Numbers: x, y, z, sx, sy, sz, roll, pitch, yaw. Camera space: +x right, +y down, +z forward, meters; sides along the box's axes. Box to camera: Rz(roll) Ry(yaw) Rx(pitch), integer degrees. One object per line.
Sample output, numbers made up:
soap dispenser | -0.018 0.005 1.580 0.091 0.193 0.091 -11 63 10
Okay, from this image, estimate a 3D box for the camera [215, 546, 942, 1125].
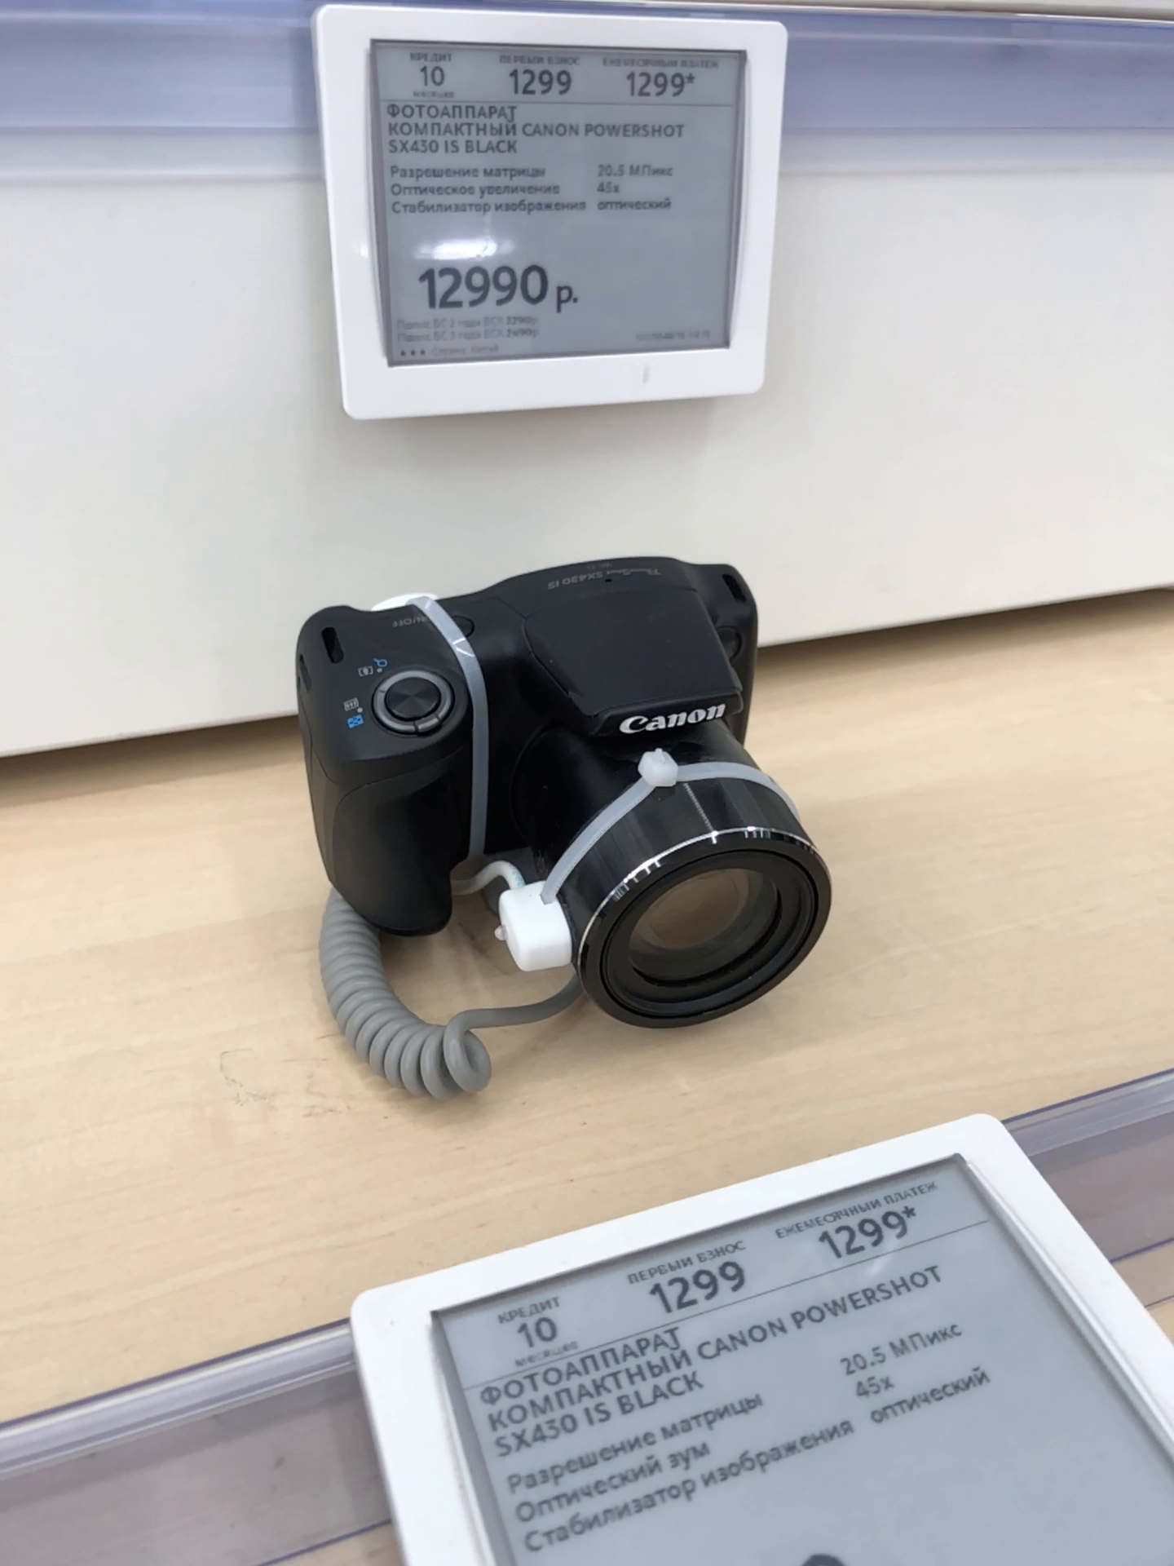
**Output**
camera | -0.006 0.001 0.274 0.117 0.062 0.093 -12 30 -22
